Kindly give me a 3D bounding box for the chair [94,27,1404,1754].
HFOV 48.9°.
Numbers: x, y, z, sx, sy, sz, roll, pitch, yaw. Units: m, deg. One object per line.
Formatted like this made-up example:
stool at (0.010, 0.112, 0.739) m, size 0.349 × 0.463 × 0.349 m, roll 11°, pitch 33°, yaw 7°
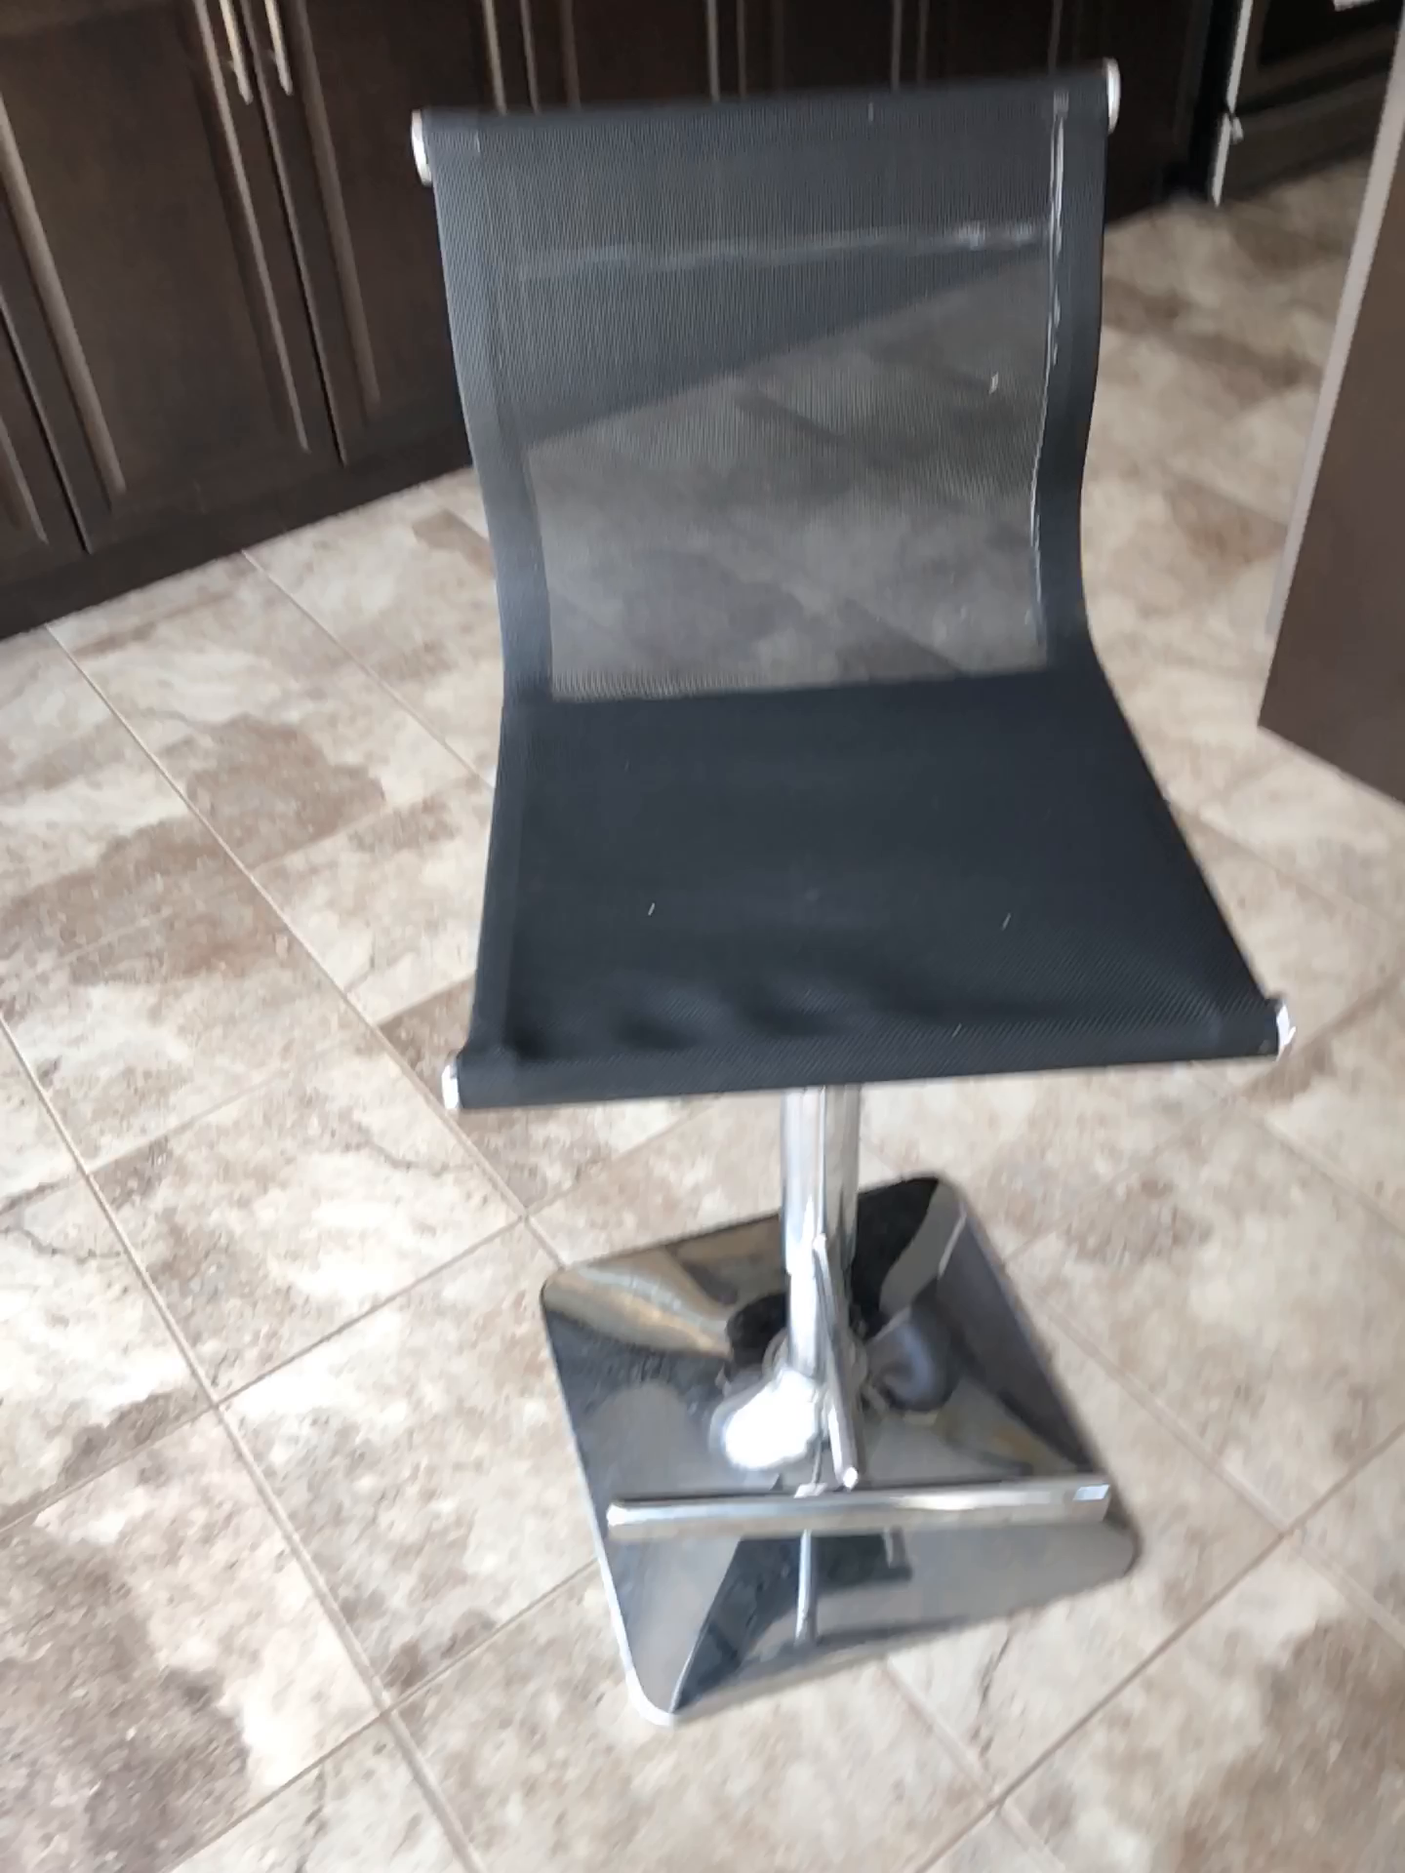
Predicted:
chair at (0.096, 0.044, 1.010) m, size 0.540 × 0.976 × 0.552 m, roll -3°, pitch 43°, yaw 1°
